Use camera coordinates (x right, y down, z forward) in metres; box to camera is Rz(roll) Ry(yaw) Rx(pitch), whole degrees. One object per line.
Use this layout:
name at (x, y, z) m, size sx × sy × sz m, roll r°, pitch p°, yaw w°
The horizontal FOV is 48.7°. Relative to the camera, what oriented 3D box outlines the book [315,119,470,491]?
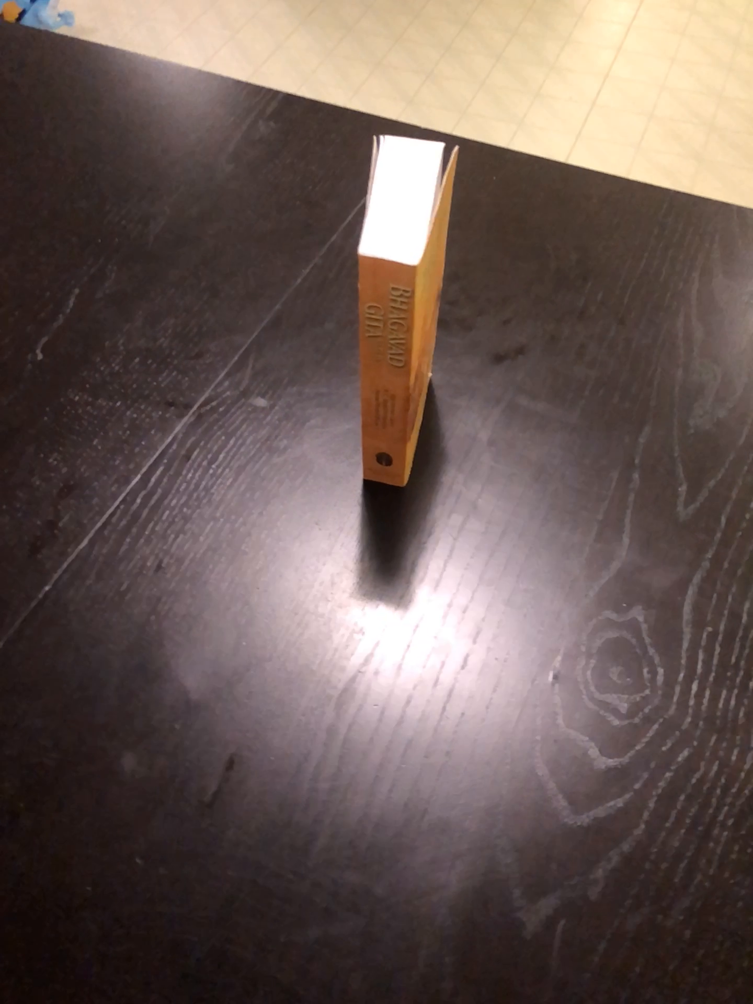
book at (0.011, -0.113, 0.504) m, size 0.059 × 0.174 × 0.126 m, roll 9°, pitch 55°, yaw 7°
